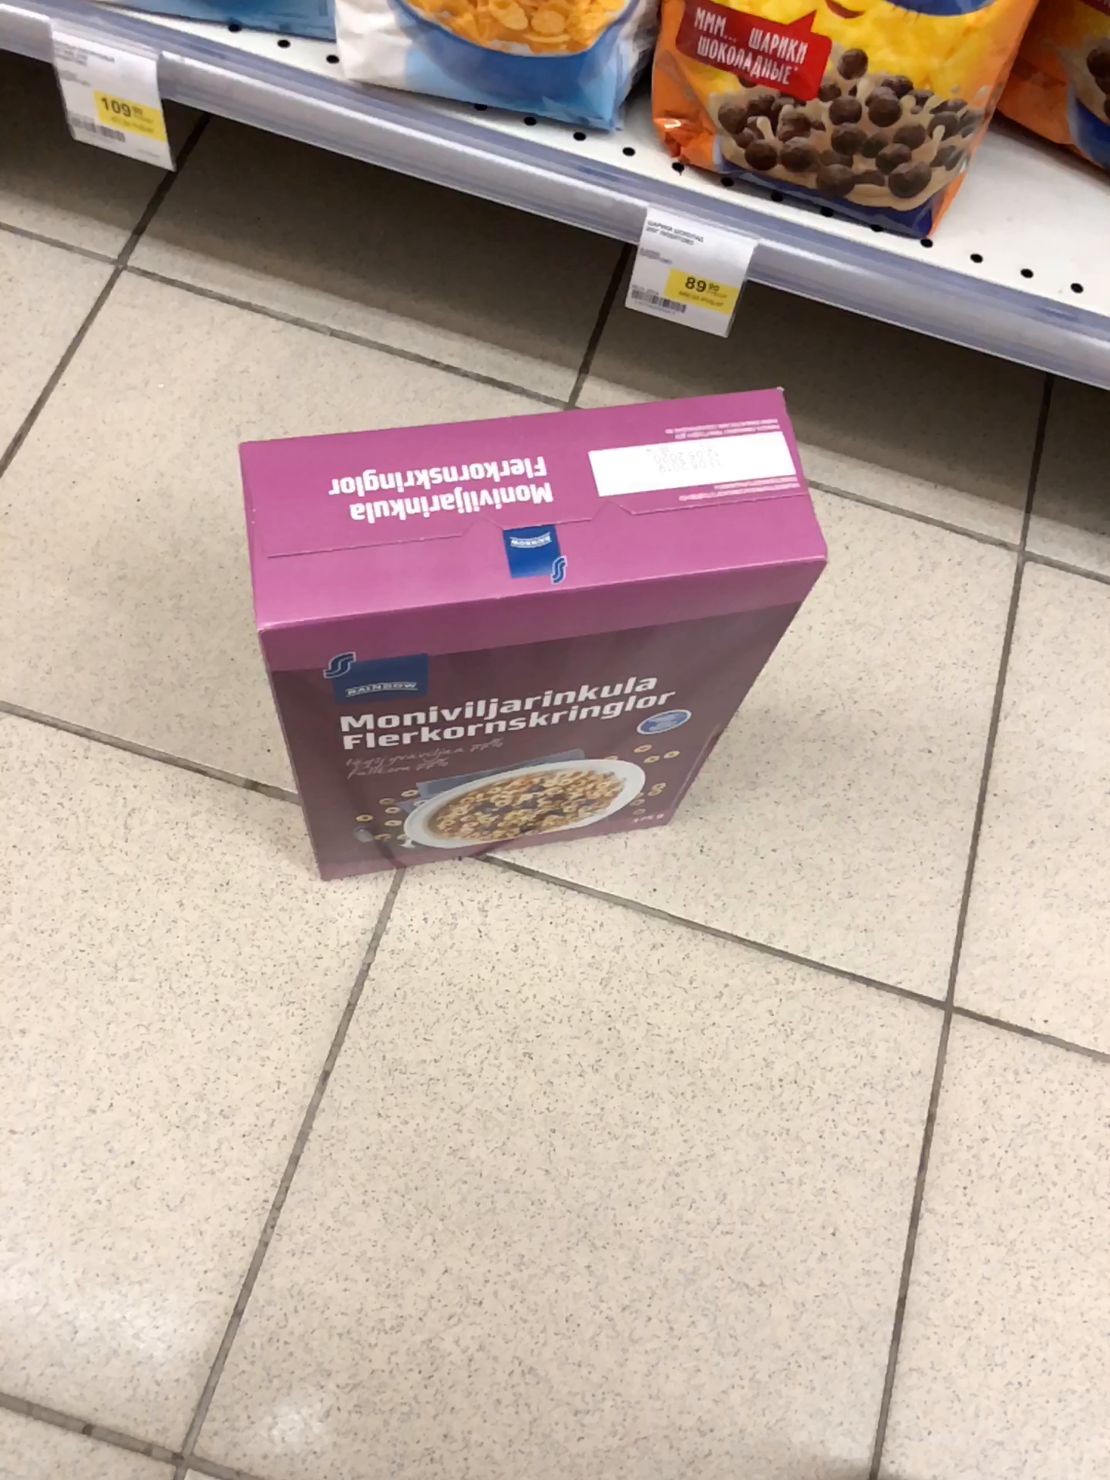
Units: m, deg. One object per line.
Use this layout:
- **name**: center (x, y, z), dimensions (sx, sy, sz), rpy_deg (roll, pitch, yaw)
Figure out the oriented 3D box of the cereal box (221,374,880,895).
- **cereal box**: center (-0.014, -0.026, 0.535), dimensions (0.210, 0.279, 0.080), rpy_deg (-8, 68, -9)
